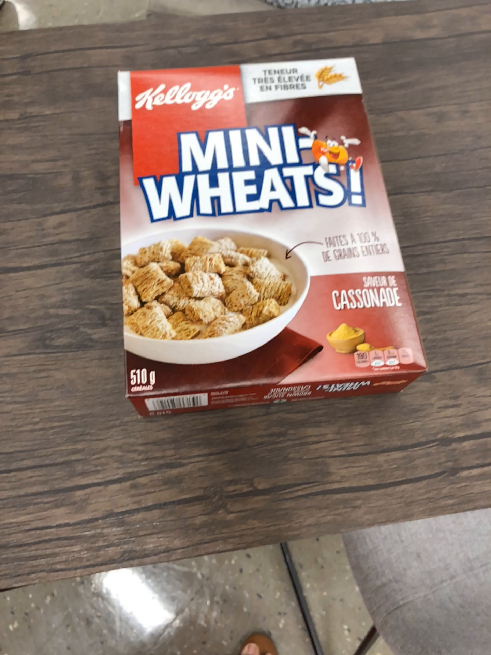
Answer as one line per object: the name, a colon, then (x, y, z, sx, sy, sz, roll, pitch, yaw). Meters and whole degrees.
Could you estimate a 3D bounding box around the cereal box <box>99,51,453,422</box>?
cereal box: (0.007, -0.076, 0.402, 0.210, 0.060, 0.260, -5, 69, -4)
